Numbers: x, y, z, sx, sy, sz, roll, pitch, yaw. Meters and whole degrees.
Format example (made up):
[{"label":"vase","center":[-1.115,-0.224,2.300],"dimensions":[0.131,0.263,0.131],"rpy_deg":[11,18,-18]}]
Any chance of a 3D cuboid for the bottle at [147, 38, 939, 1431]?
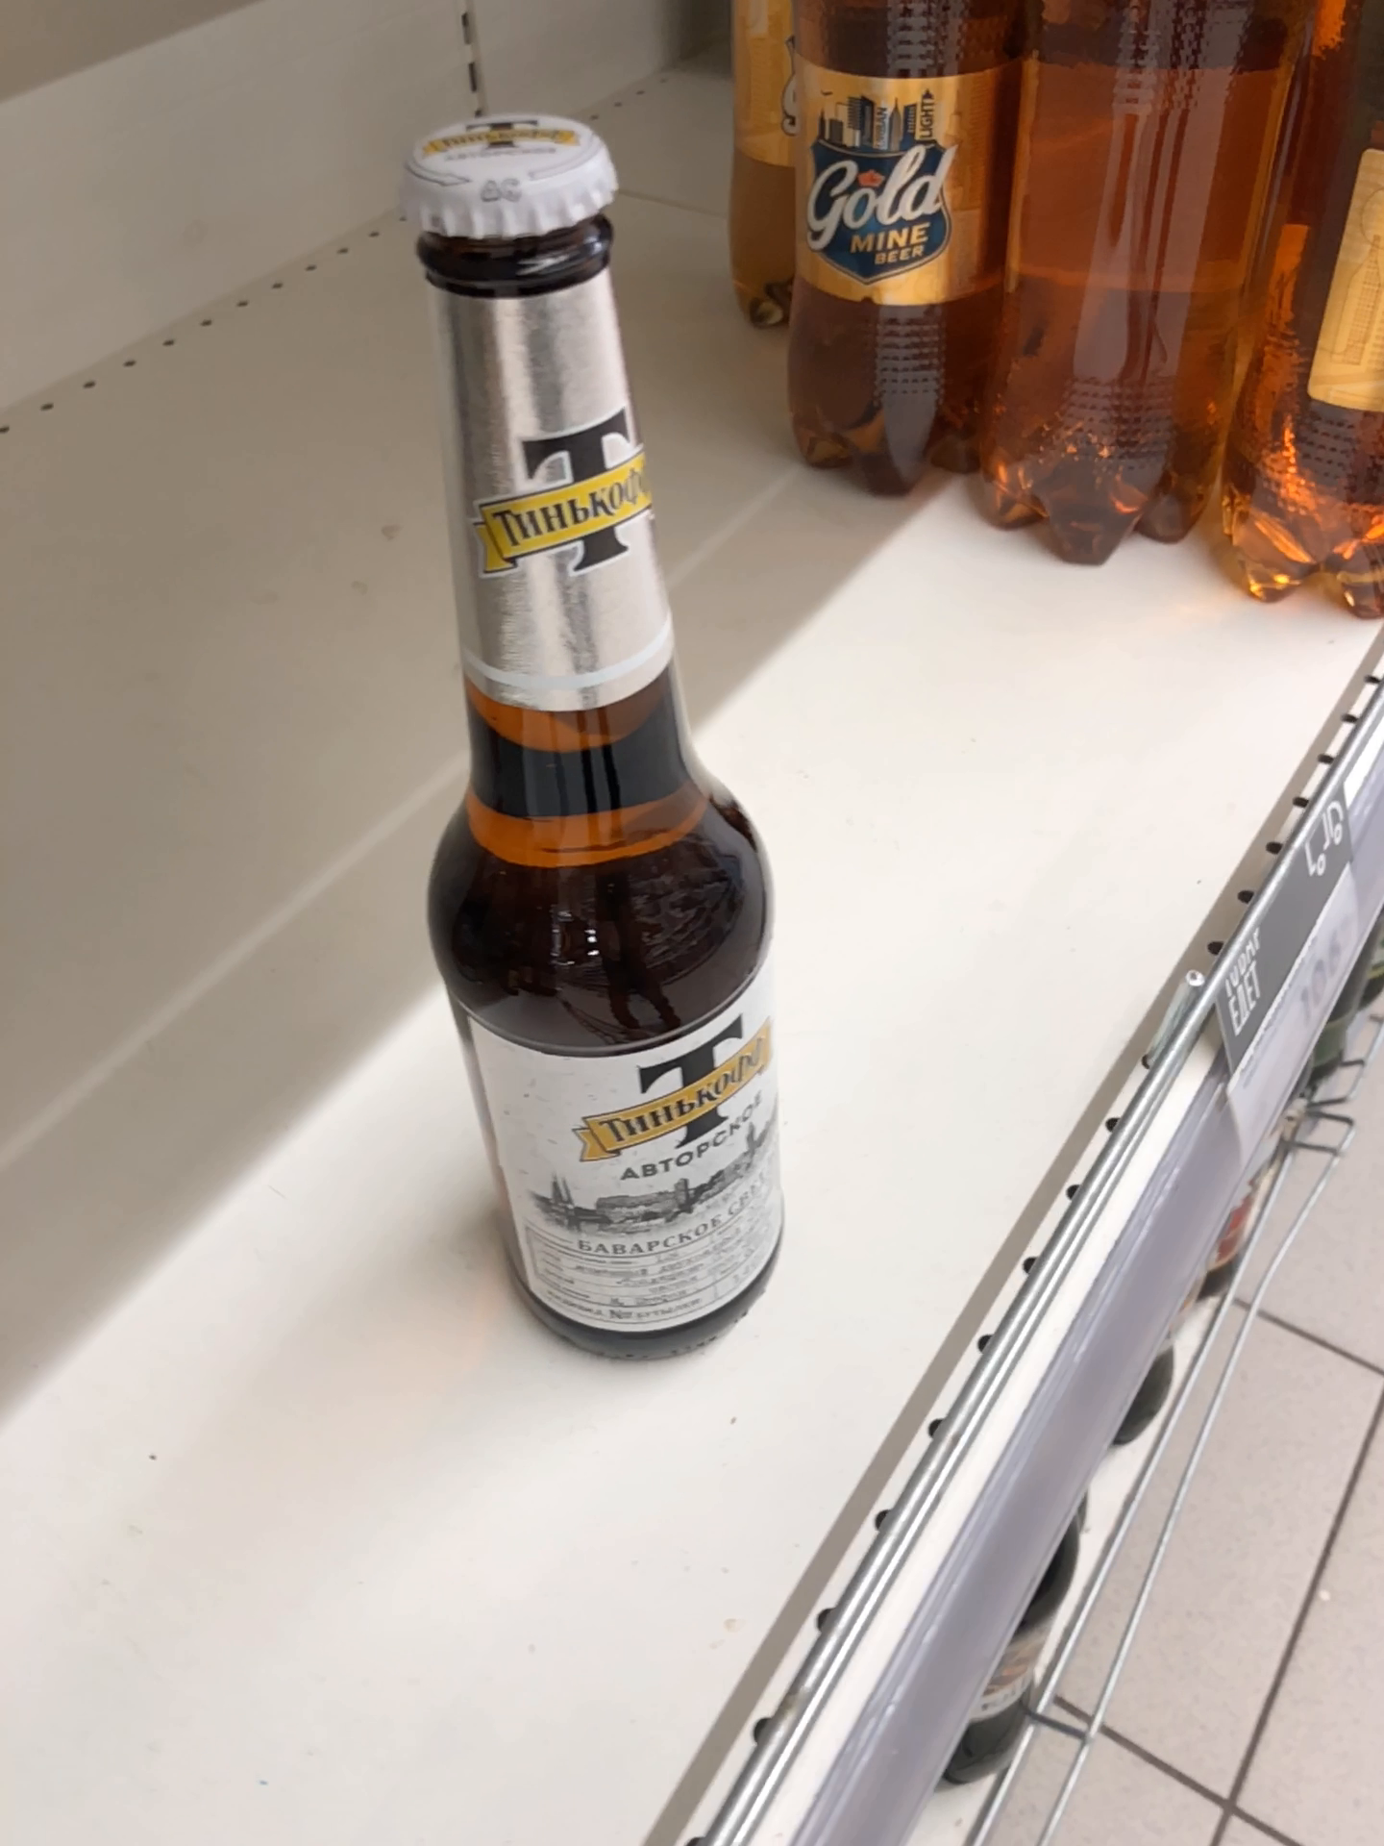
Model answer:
[{"label":"bottle","center":[-0.015,-0.012,0.288],"dimensions":[0.080,0.249,0.070],"rpy_deg":[-26,49,-20]}]
